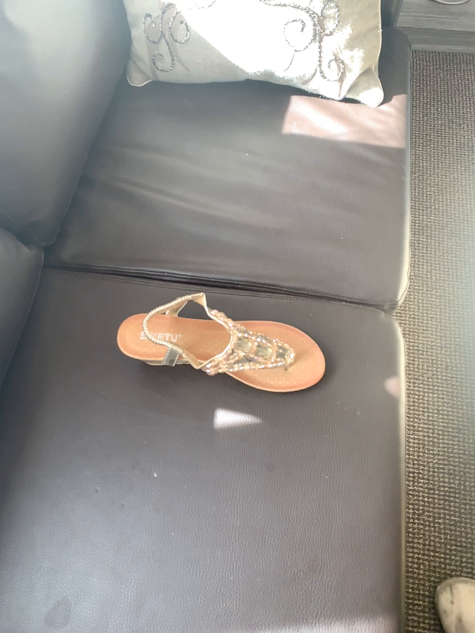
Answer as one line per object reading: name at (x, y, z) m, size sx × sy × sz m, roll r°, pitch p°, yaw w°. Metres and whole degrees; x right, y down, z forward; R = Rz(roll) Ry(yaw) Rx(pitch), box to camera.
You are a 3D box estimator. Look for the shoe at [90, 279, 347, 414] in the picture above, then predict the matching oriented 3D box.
shoe at (-0.015, 0.041, 0.585) m, size 0.270 × 0.139 × 0.100 m, roll 5°, pitch 66°, yaw 4°
